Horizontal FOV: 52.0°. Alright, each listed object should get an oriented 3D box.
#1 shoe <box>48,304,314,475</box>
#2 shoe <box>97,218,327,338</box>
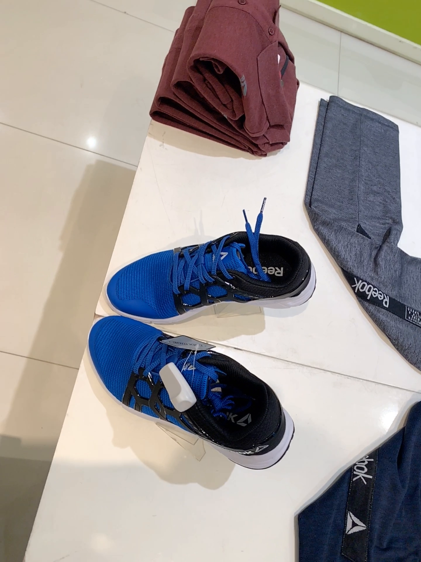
[{"bbox_3d":[-0.043,0.111,0.500,0.290,0.080,0.100,8,55,33],"label":"shoe"},{"bbox_3d":[0.000,0.006,0.568,0.280,0.100,0.100,-8,75,17],"label":"shoe"}]
